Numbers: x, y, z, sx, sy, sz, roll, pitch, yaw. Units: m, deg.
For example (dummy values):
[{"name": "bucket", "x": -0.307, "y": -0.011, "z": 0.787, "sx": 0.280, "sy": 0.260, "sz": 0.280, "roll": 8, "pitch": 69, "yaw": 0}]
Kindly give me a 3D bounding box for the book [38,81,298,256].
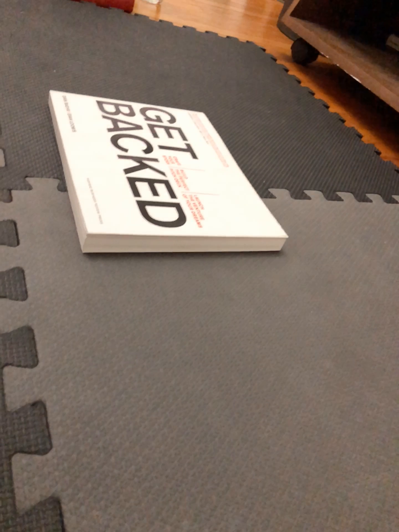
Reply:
[{"name": "book", "x": -0.046, "y": -0.110, "z": 0.462, "sx": 0.210, "sy": 0.020, "sz": 0.261, "roll": -2, "pitch": 46, "yaw": -26}]
